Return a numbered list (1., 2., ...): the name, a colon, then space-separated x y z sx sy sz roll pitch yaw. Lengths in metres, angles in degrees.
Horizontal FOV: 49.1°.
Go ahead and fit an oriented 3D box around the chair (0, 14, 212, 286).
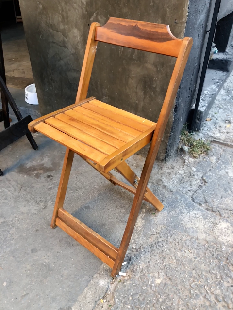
1. chair: -0.037 -0.038 1.031 0.481 0.853 0.502 25 42 30
